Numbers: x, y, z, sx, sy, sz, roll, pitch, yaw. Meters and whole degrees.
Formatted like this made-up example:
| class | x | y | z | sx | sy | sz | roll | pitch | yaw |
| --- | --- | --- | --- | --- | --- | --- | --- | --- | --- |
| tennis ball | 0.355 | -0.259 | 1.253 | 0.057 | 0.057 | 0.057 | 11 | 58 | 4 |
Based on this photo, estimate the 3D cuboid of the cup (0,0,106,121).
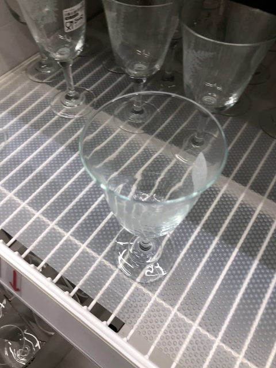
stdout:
| class | x | y | z | sx | sy | sz | roll | pitch | yaw |
| --- | --- | --- | --- | --- | --- | --- | --- | --- | --- |
| cup | -0.083 | -0.152 | 0.341 | 0.069 | 0.146 | 0.066 | 0 | 55 | -1 |

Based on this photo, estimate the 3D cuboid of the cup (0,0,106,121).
| class | x | y | z | sx | sy | sz | roll | pitch | yaw |
| --- | --- | --- | --- | --- | --- | --- | --- | --- | --- |
| cup | -0.083 | -0.152 | 0.341 | 0.069 | 0.146 | 0.066 | 0 | 55 | -1 |

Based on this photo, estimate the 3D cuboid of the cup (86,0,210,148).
| class | x | y | z | sx | sy | sz | roll | pitch | yaw |
| --- | --- | --- | --- | --- | --- | --- | --- | --- | --- |
| cup | 0.010 | -0.130 | 0.327 | 0.079 | 0.146 | 0.086 | 0 | 55 | -1 |

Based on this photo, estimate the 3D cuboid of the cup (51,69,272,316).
| class | x | y | z | sx | sy | sz | roll | pitch | yaw |
| --- | --- | --- | --- | --- | --- | --- | --- | --- | --- |
| cup | 0.013 | 0.018 | 0.234 | 0.089 | 0.156 | 0.086 | 0 | 55 | -1 |

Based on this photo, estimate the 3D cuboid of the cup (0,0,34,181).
| class | x | y | z | sx | sy | sz | roll | pitch | yaw |
| --- | --- | --- | --- | --- | --- | --- | --- | --- | --- |
| cup | -0.168 | -0.086 | 0.299 | 0.069 | 0.156 | 0.066 | 1 | 55 | -1 |

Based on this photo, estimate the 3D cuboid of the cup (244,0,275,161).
| class | x | y | z | sx | sy | sz | roll | pitch | yaw |
| --- | --- | --- | --- | --- | --- | --- | --- | --- | --- |
| cup | 0.188 | -0.115 | 0.311 | 0.089 | 0.136 | 0.086 | 0 | 55 | -1 |

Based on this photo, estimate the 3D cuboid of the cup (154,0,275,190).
| class | x | y | z | sx | sy | sz | roll | pitch | yaw |
| --- | --- | --- | --- | --- | --- | --- | --- | --- | --- |
| cup | 0.082 | -0.089 | 0.312 | 0.087 | 0.155 | 0.089 | 0 | 55 | -1 |
